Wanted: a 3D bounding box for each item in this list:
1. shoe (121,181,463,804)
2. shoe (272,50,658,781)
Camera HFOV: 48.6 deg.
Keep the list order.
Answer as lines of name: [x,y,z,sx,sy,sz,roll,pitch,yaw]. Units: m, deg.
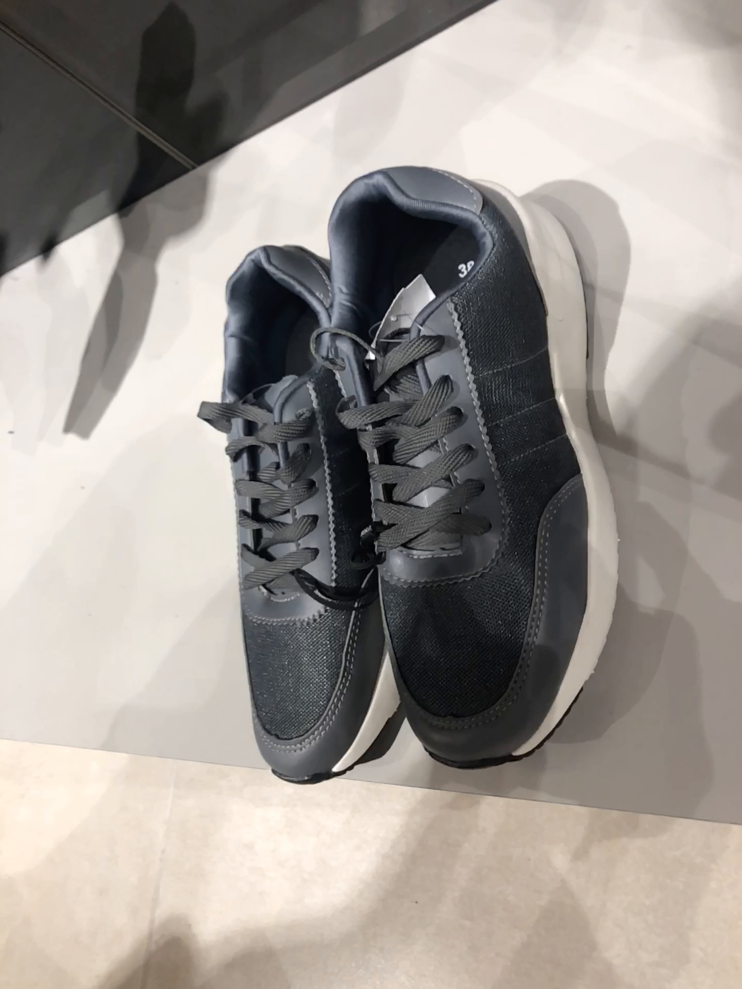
shoe: [-0.031,0.004,0.422,0.110,0.100,0.280,-10,68,37]
shoe: [0.042,-0.026,0.360,0.110,0.100,0.280,-13,66,37]
